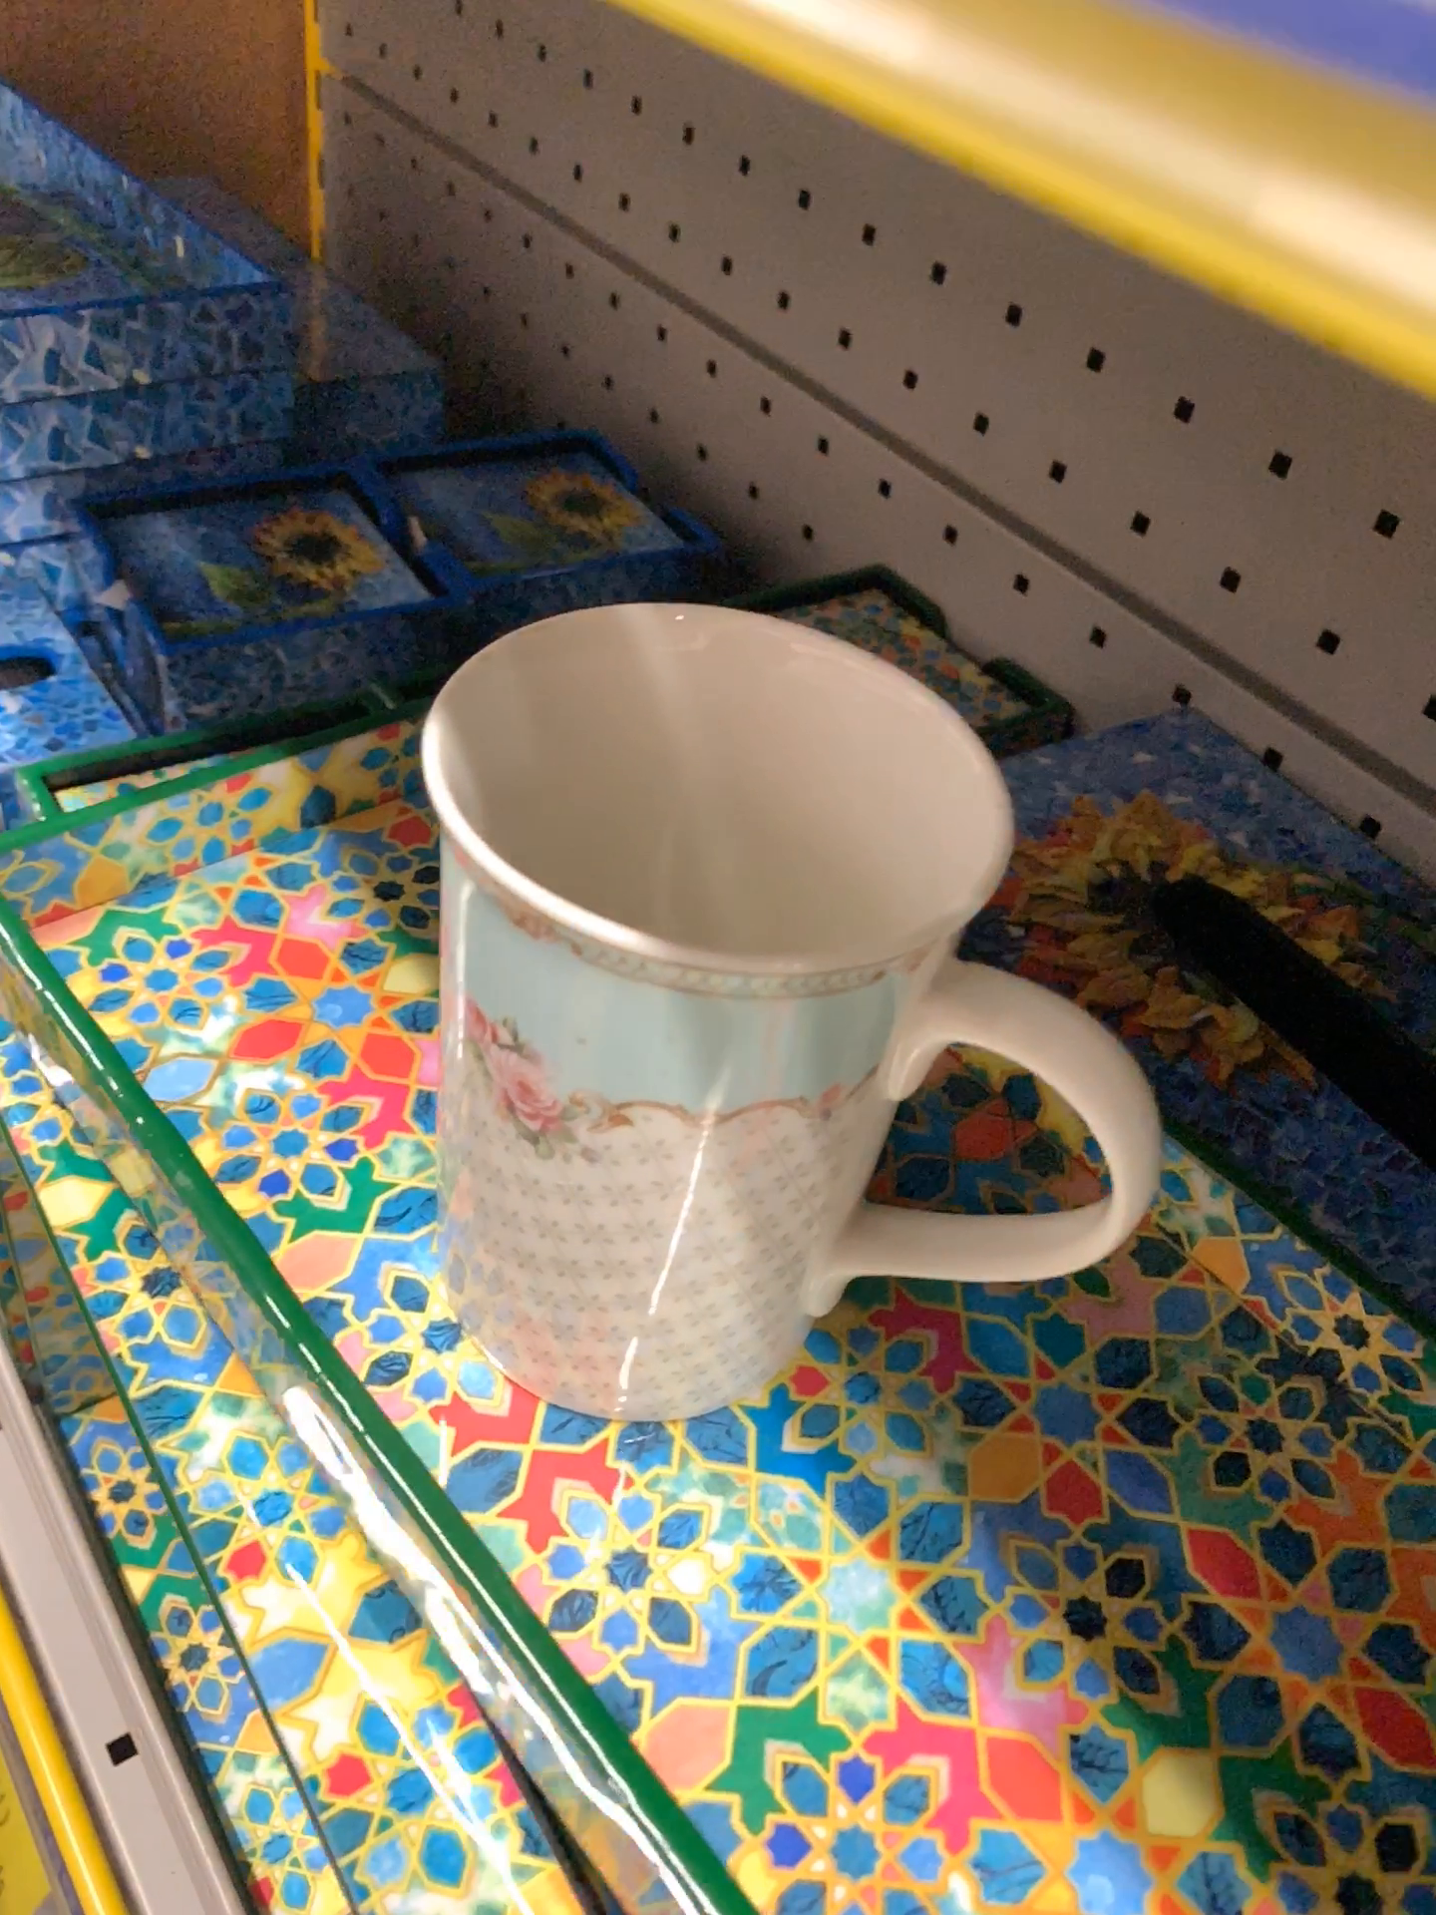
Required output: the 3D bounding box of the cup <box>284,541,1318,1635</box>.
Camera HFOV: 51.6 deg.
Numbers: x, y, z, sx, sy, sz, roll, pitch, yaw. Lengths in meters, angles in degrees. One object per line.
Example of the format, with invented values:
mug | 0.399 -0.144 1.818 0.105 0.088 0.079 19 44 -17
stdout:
cup | 0.009 0.016 0.220 0.110 0.100 0.080 23 43 13
